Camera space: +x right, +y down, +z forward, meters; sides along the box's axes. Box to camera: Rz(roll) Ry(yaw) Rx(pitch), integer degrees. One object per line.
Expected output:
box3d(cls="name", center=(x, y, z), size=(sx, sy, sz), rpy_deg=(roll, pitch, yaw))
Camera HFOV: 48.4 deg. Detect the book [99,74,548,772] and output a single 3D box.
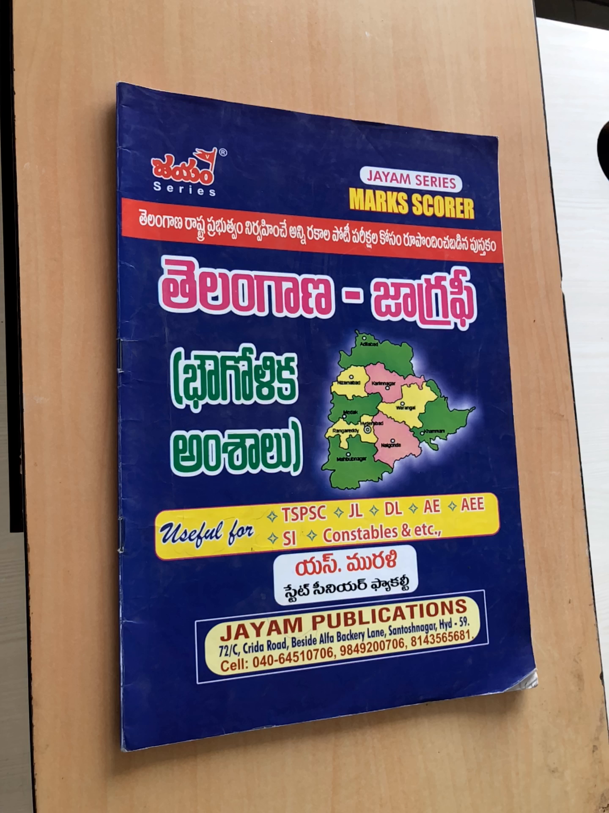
box3d(cls="book", center=(0.008, 0.000, 0.322), size=(0.200, 0.040, 0.280), rpy_deg=(0, 83, -19))
